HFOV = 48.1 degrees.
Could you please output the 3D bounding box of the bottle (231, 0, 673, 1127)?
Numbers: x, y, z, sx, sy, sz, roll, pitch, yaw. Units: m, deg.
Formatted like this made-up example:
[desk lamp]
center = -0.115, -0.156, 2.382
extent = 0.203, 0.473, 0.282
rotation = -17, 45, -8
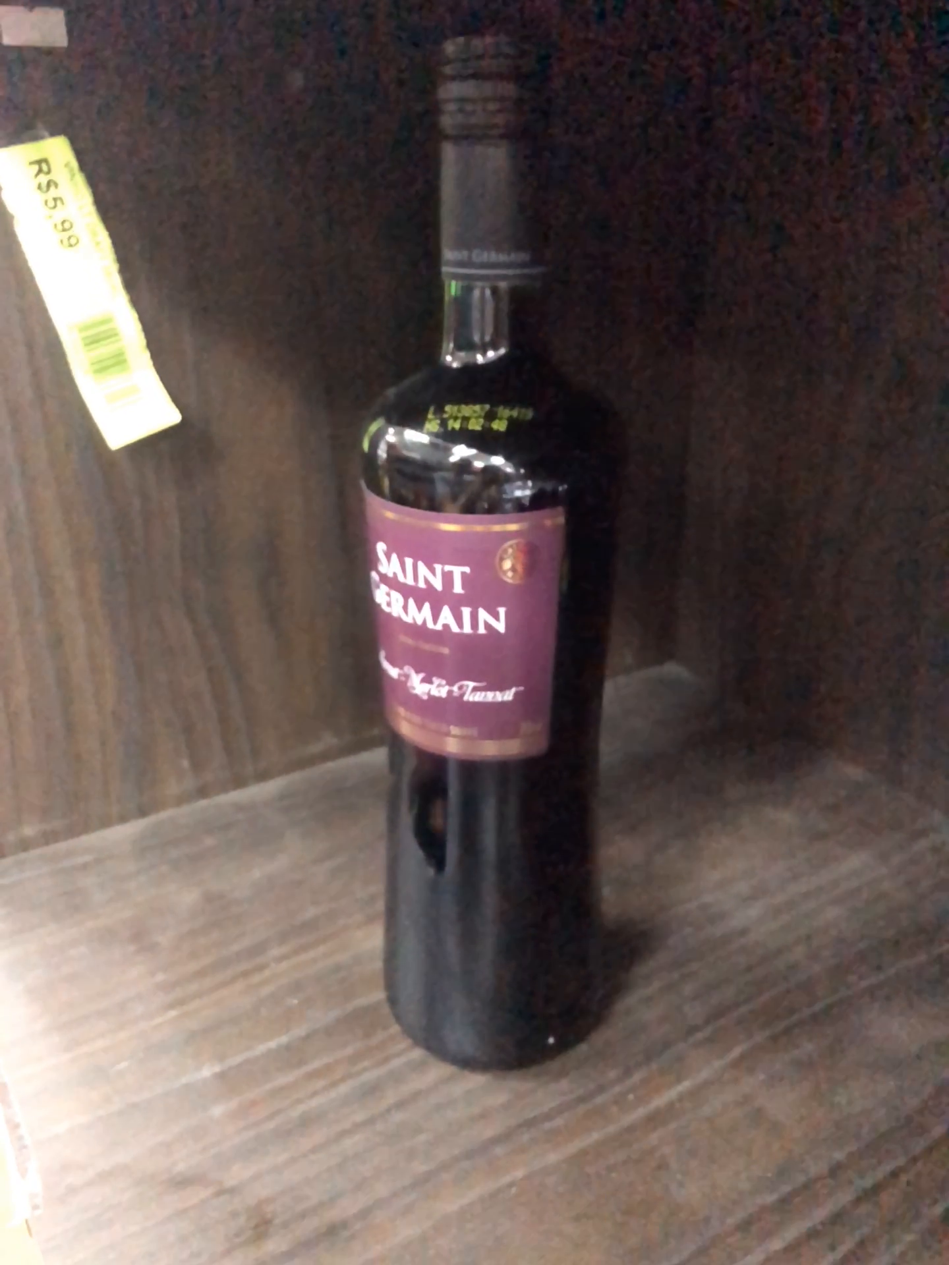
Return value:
[bottle]
center = -0.001, -0.010, 0.311
extent = 0.080, 0.308, 0.070
rotation = 12, 26, 27
